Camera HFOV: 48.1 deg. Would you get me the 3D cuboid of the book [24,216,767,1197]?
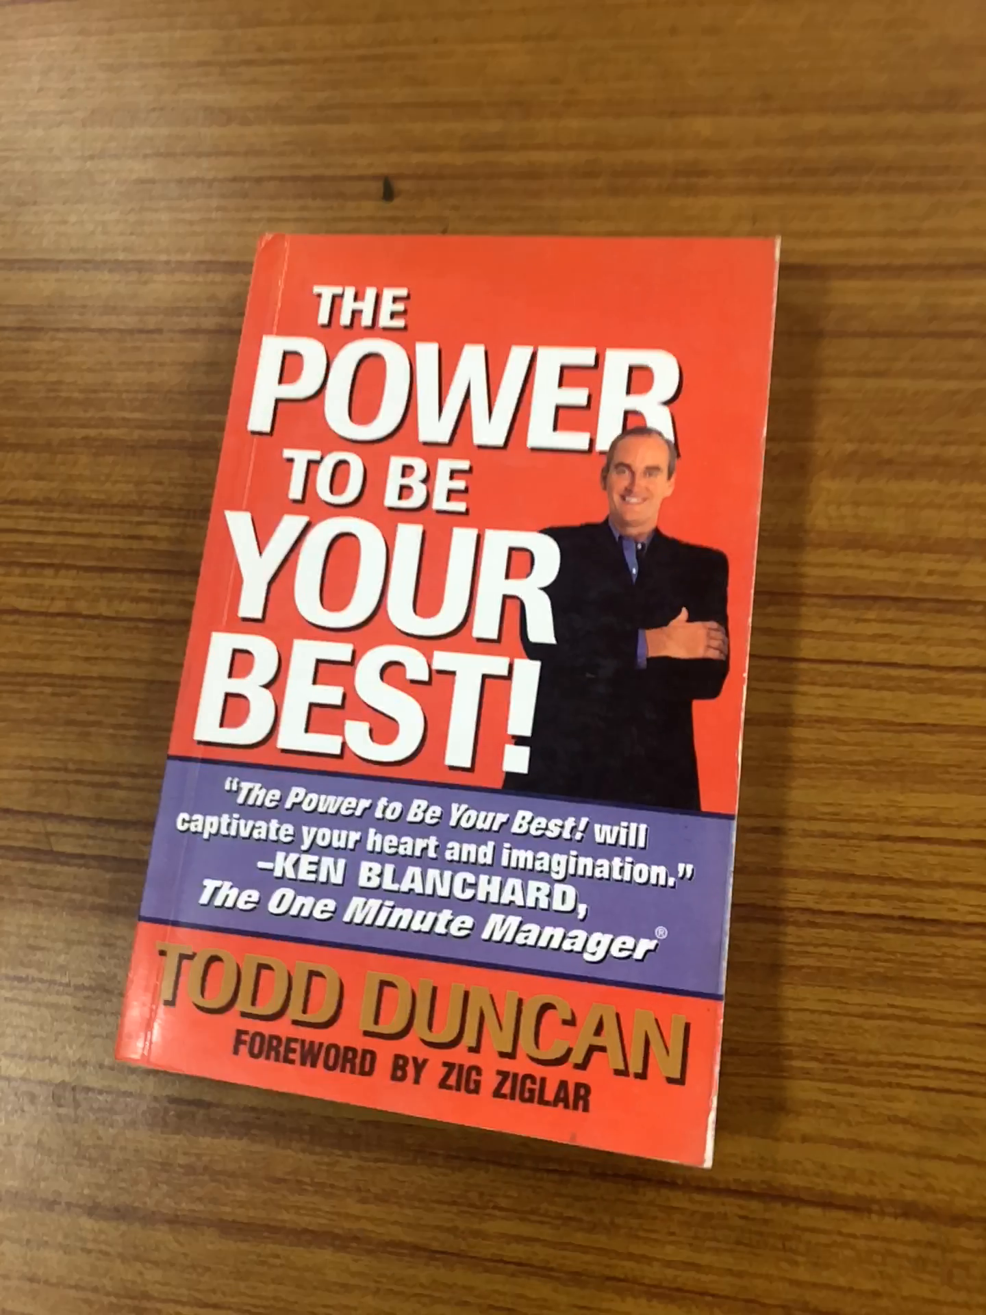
[{"bbox_3d":[-0.018,0.000,0.274,0.150,0.030,0.220,5,79,10],"label":"book"}]
